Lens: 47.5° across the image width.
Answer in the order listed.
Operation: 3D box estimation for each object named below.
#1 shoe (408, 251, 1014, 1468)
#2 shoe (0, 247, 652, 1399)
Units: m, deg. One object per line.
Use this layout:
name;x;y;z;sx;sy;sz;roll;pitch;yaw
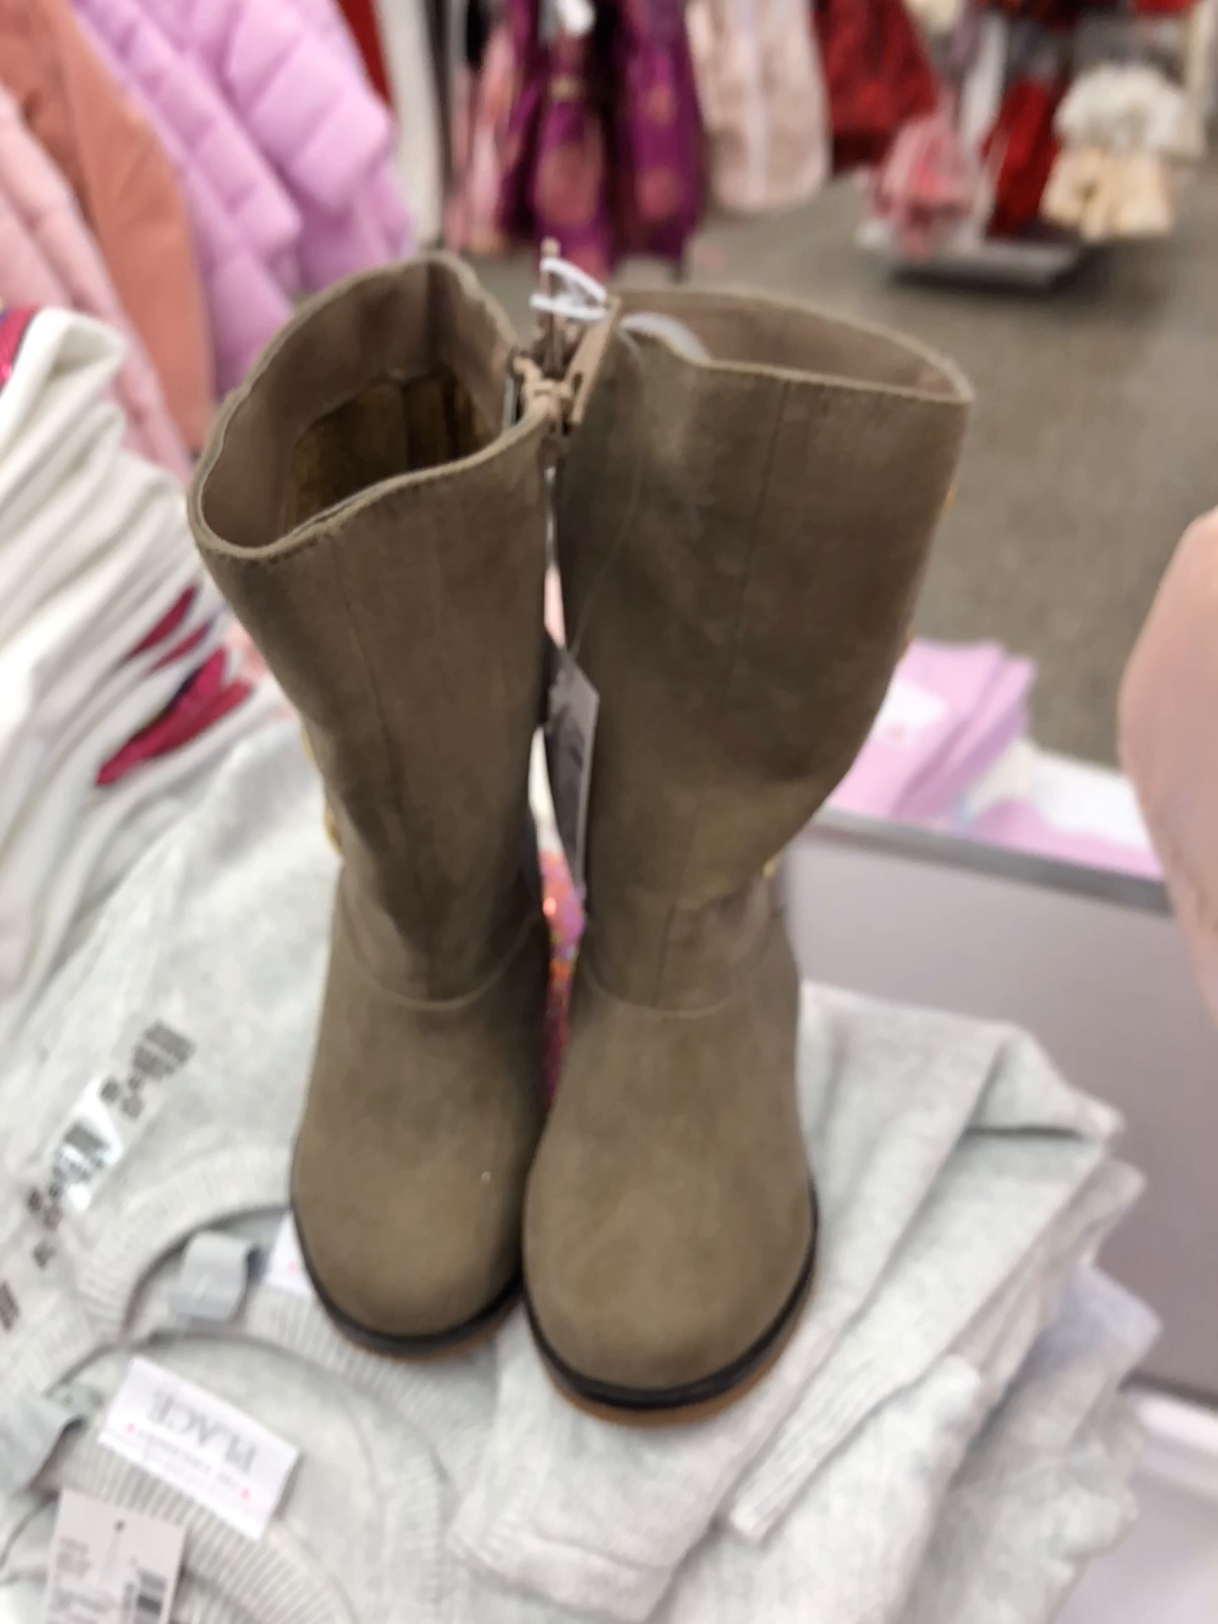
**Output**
shoe;0.022;0.006;0.273;0.070;0.184;0.148;3;37;7
shoe;-0.037;0.004;0.275;0.070;0.164;0.155;4;48;7
